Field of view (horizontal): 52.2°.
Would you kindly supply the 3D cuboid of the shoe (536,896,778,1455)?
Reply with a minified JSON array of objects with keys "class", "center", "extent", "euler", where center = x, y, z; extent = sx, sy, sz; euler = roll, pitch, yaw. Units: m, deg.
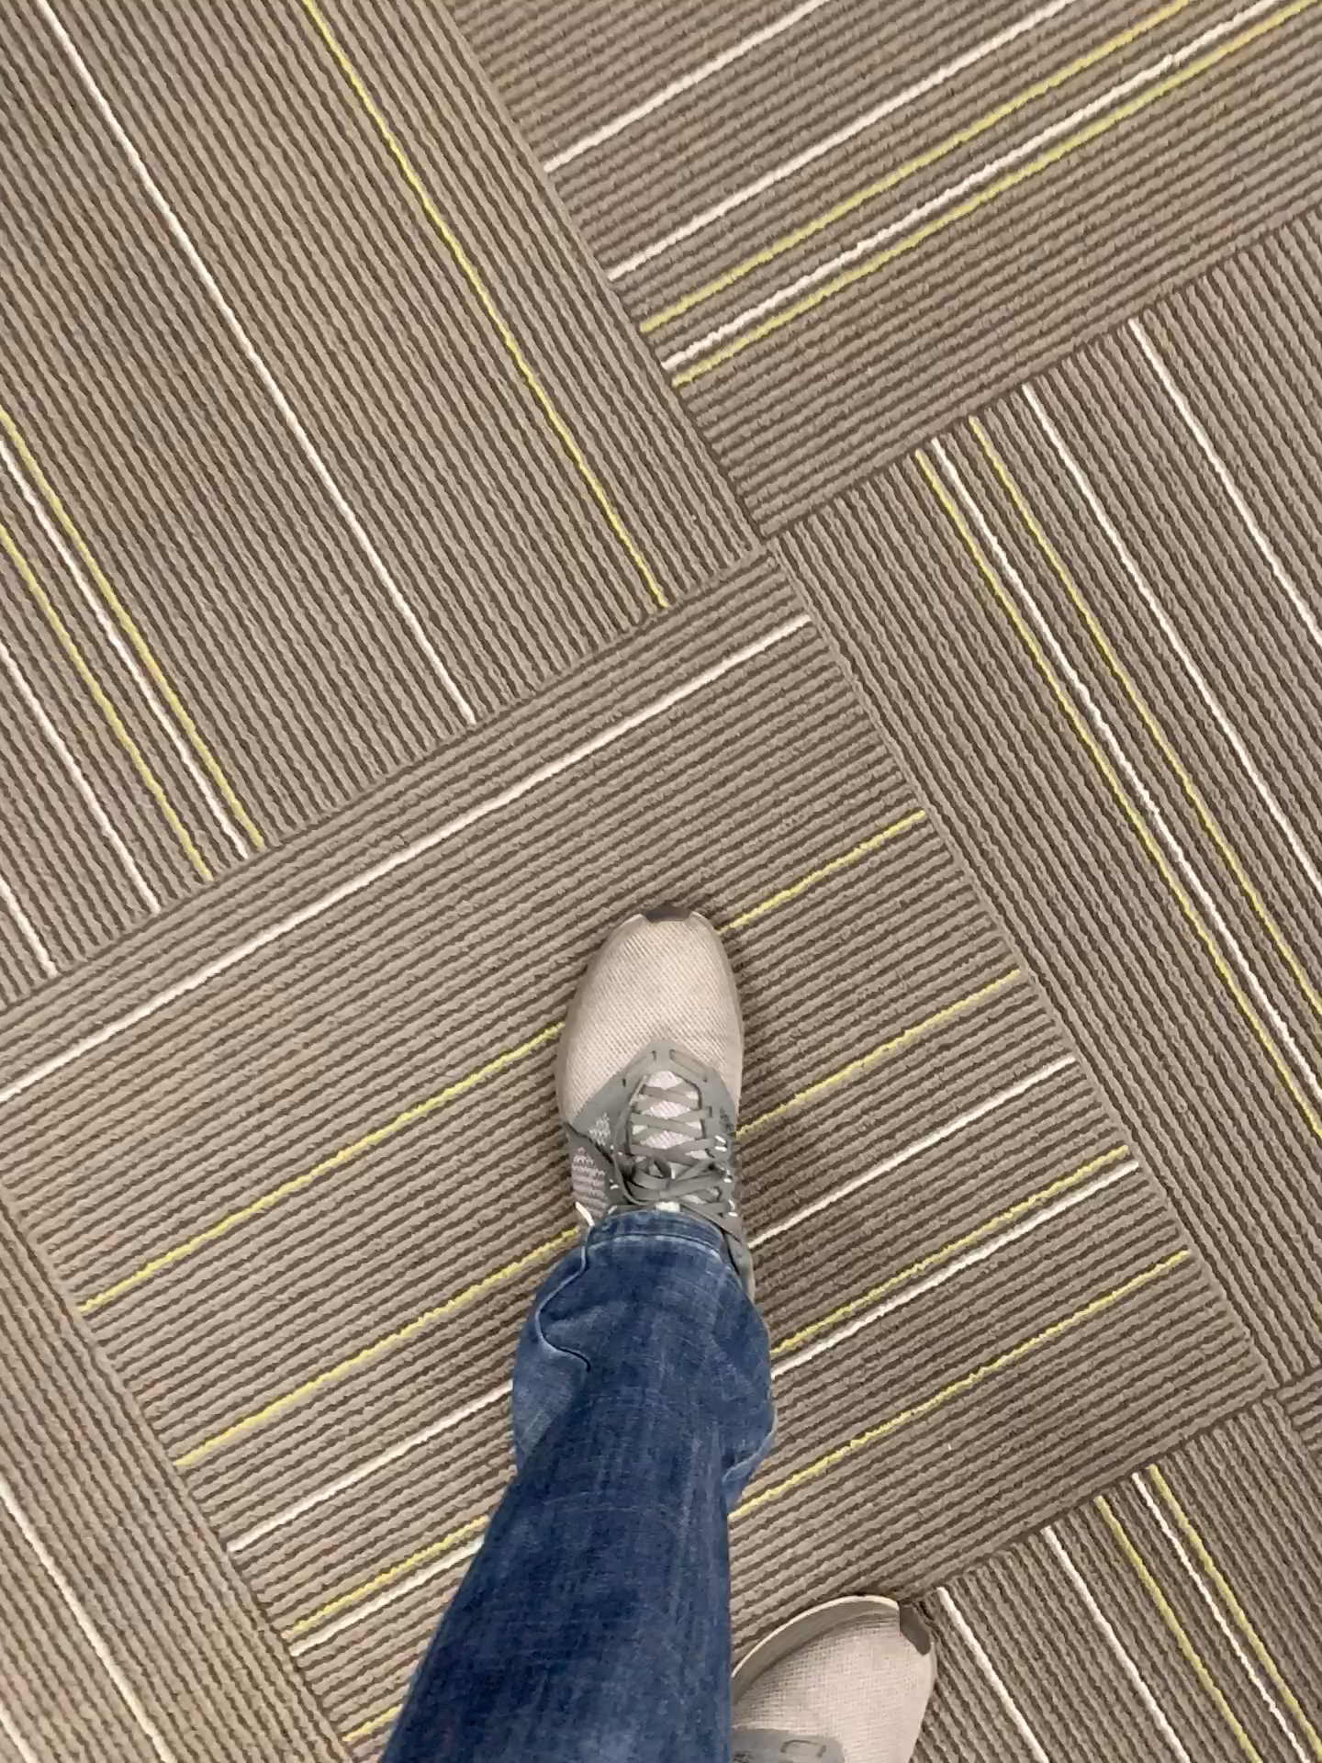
[{"class":"shoe","center":[-0.001,0.168,0.811],"extent":[0.131,0.093,0.313],"euler":[-1,91,1]}]

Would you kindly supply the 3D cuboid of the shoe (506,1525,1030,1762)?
[{"class":"shoe","center":[0.062,0.567,0.831],"extent":[0.299,0.093,0.128],"euler":[-44,90,2]}]
